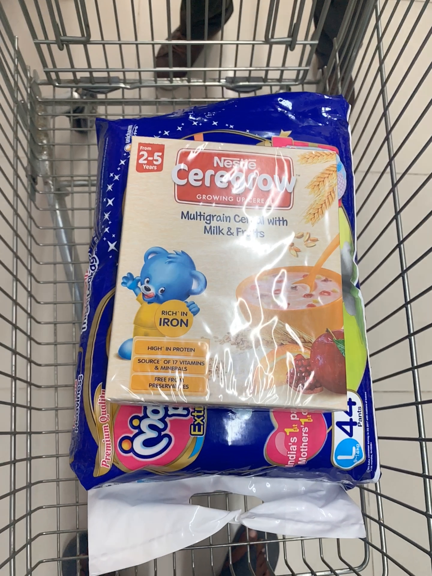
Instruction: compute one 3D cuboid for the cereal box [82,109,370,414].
[{"bbox_3d":[0.008,-0.017,0.297,0.160,0.050,0.190,3,73,-3],"label":"cereal box"}]
